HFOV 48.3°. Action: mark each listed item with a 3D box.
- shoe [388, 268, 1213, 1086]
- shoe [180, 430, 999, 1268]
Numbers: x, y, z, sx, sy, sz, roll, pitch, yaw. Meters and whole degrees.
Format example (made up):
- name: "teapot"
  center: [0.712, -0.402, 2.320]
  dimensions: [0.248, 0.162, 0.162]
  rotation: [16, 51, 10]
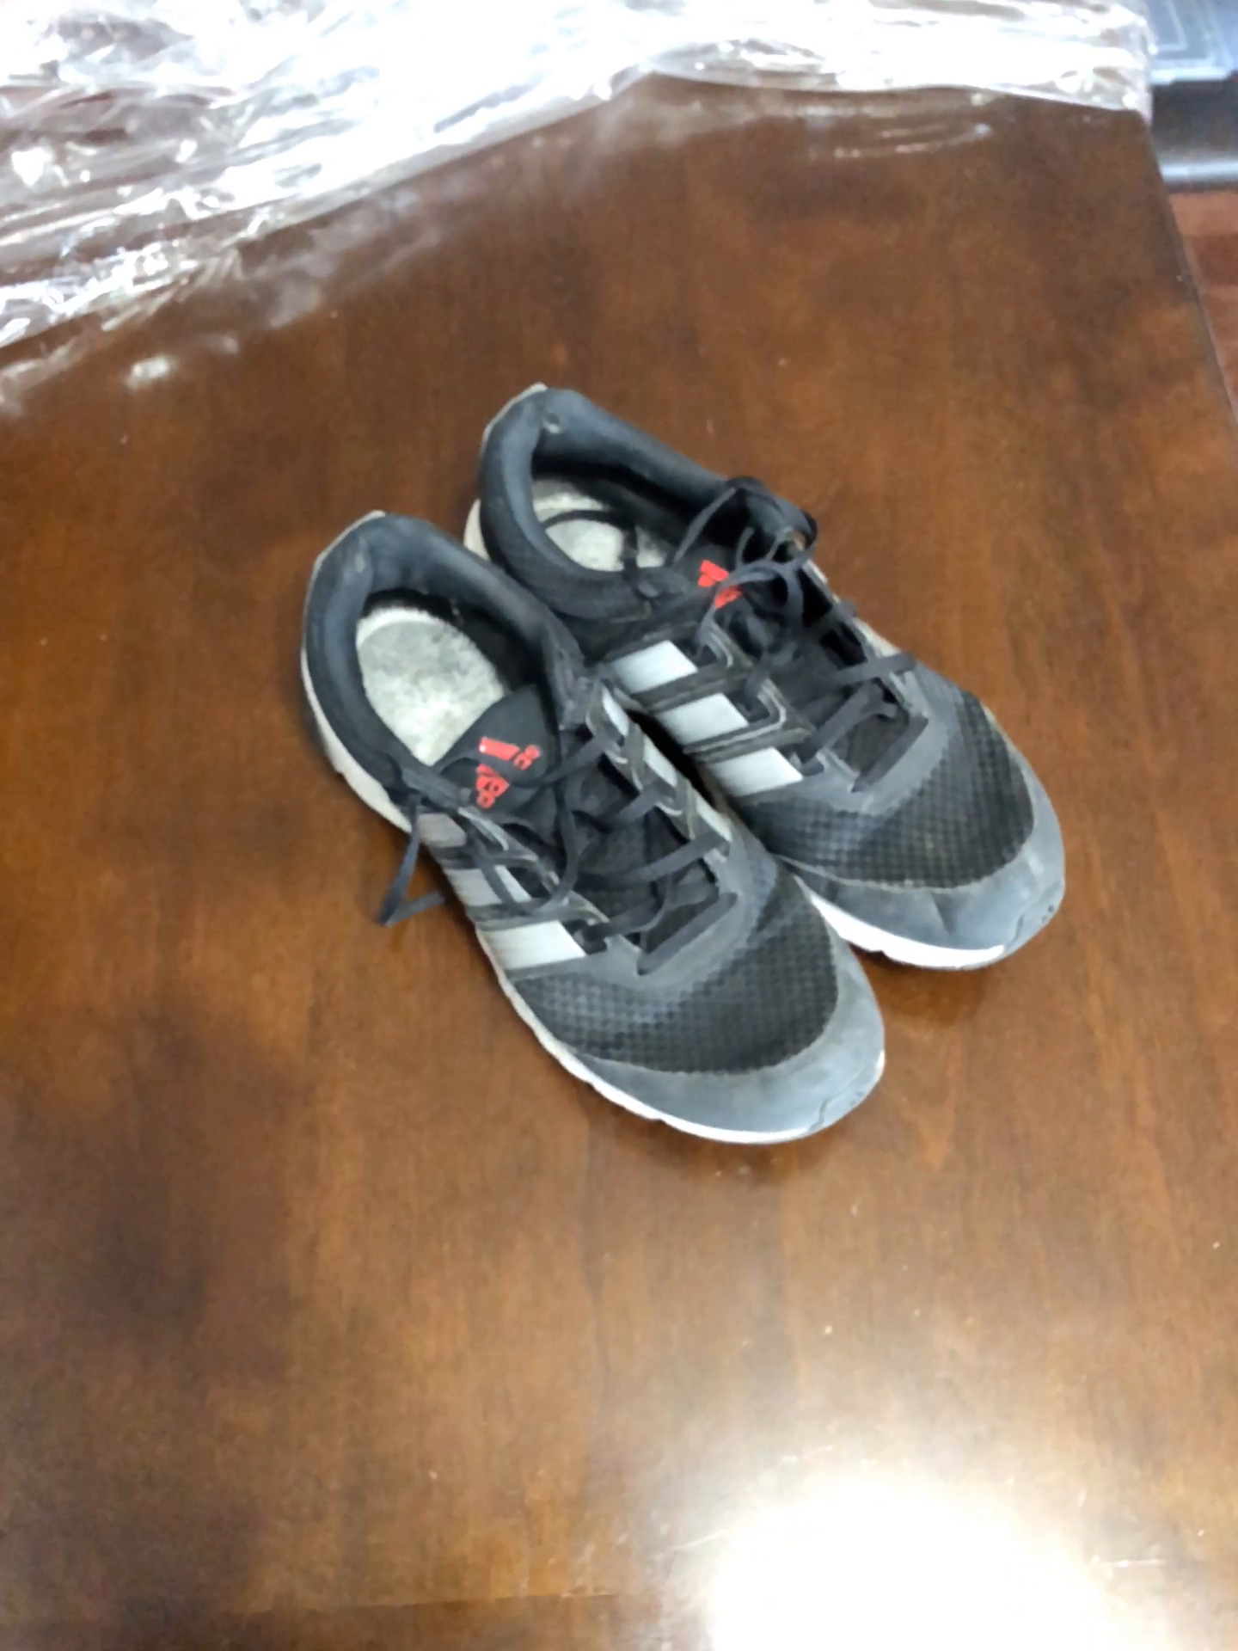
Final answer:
- name: "shoe"
  center: [0.055, -0.060, 0.544]
  dimensions: [0.120, 0.130, 0.290]
  rotation: [-39, 70, -17]
- name: "shoe"
  center: [-0.019, 0.006, 0.527]
  dimensions: [0.120, 0.120, 0.290]
  rotation: [-39, 70, -17]
